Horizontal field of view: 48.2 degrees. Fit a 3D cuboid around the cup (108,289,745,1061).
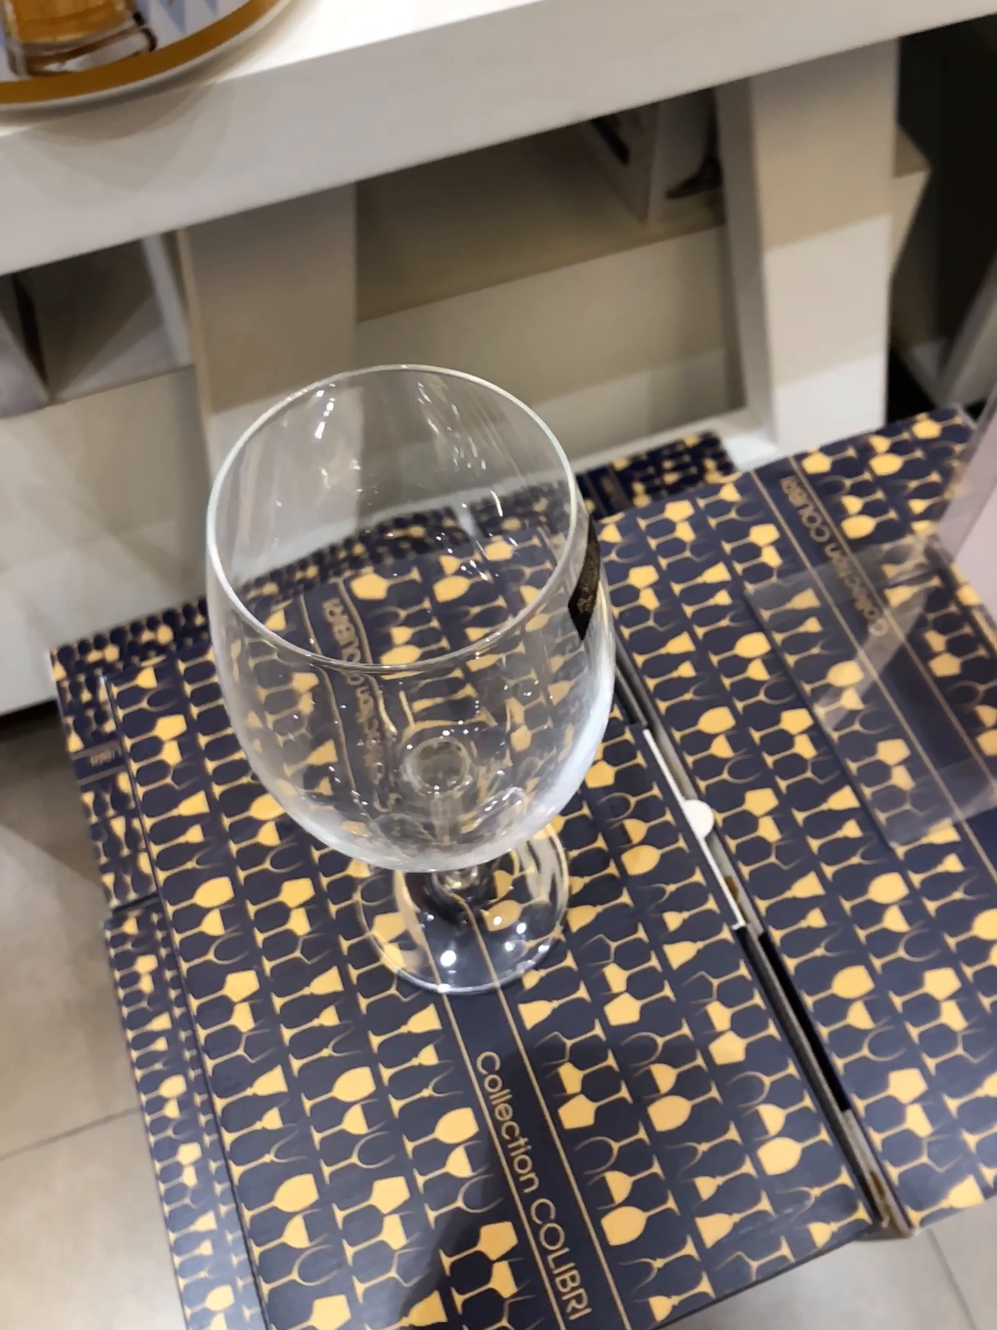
[{"bbox_3d":[-0.014,0.026,0.282,0.090,0.209,0.090,-1,62,1],"label":"cup"}]
